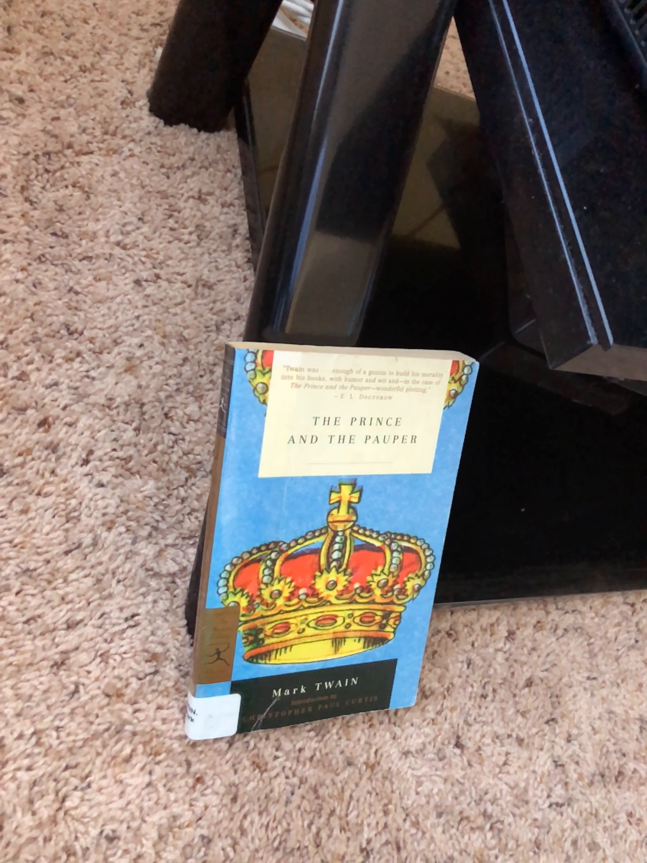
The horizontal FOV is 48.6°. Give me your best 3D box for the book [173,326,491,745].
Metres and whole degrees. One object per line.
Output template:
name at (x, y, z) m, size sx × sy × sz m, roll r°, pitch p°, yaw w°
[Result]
book at (0.004, 0.052, 0.358) m, size 0.130 × 0.030 × 0.193 m, roll 2°, pitch 106°, yaw -30°
